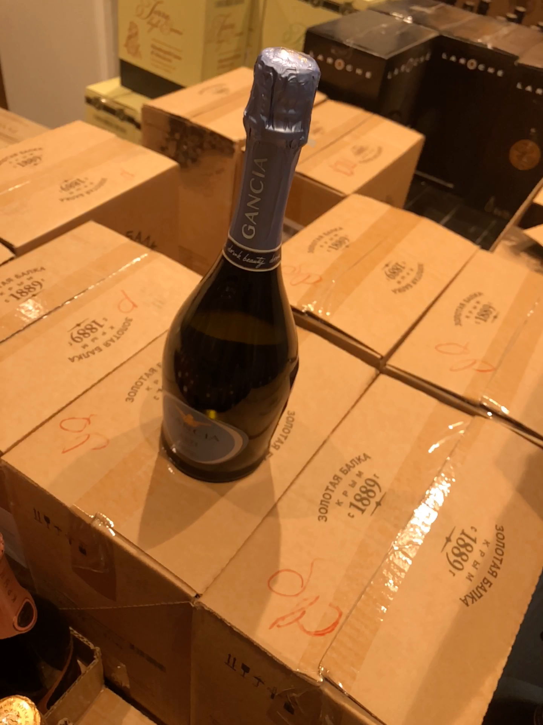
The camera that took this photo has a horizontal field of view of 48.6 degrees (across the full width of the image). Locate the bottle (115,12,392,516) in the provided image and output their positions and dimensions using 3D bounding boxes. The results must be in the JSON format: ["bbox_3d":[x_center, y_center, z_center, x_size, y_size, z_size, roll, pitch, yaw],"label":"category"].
[{"bbox_3d":[-0.025,-0.040,0.390,0.101,0.298,0.091,27,46,17],"label":"bottle"}]
